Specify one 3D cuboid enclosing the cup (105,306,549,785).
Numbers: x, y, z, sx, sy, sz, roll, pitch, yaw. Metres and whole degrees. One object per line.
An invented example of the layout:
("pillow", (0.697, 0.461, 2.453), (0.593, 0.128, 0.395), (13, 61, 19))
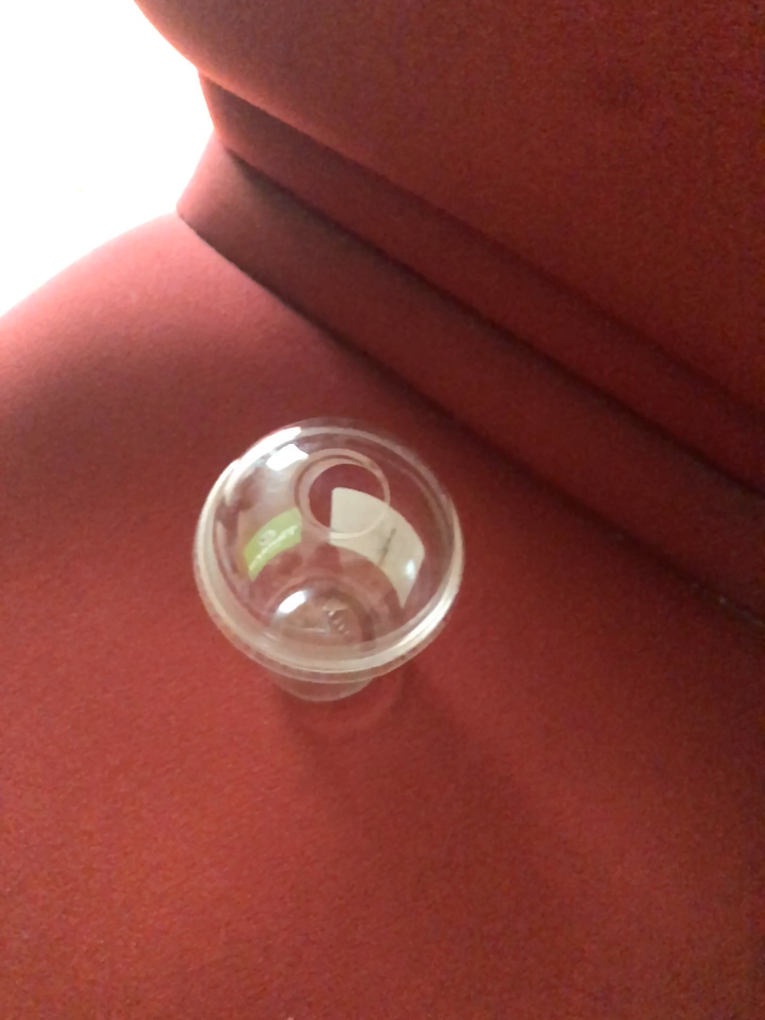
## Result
("cup", (-0.022, 0.024, 0.326), (0.100, 0.150, 0.090), (37, 66, 12))
